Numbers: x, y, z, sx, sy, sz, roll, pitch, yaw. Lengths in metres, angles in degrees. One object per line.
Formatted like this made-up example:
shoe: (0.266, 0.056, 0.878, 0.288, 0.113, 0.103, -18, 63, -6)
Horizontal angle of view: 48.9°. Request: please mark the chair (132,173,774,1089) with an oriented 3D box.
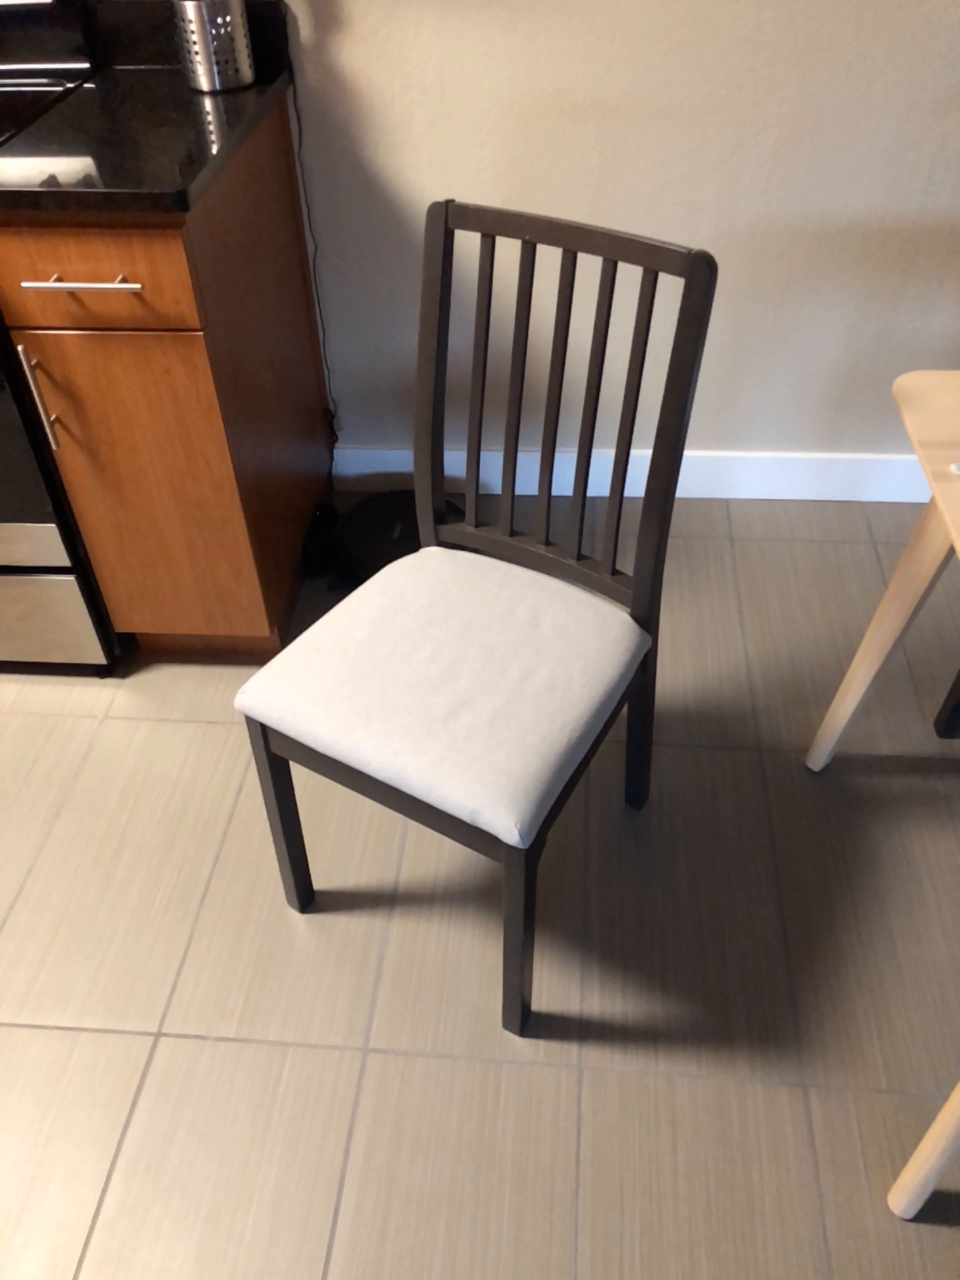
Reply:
chair: (-0.001, 0.034, 1.505, 0.481, 1.125, 0.511, 25, 48, 27)
